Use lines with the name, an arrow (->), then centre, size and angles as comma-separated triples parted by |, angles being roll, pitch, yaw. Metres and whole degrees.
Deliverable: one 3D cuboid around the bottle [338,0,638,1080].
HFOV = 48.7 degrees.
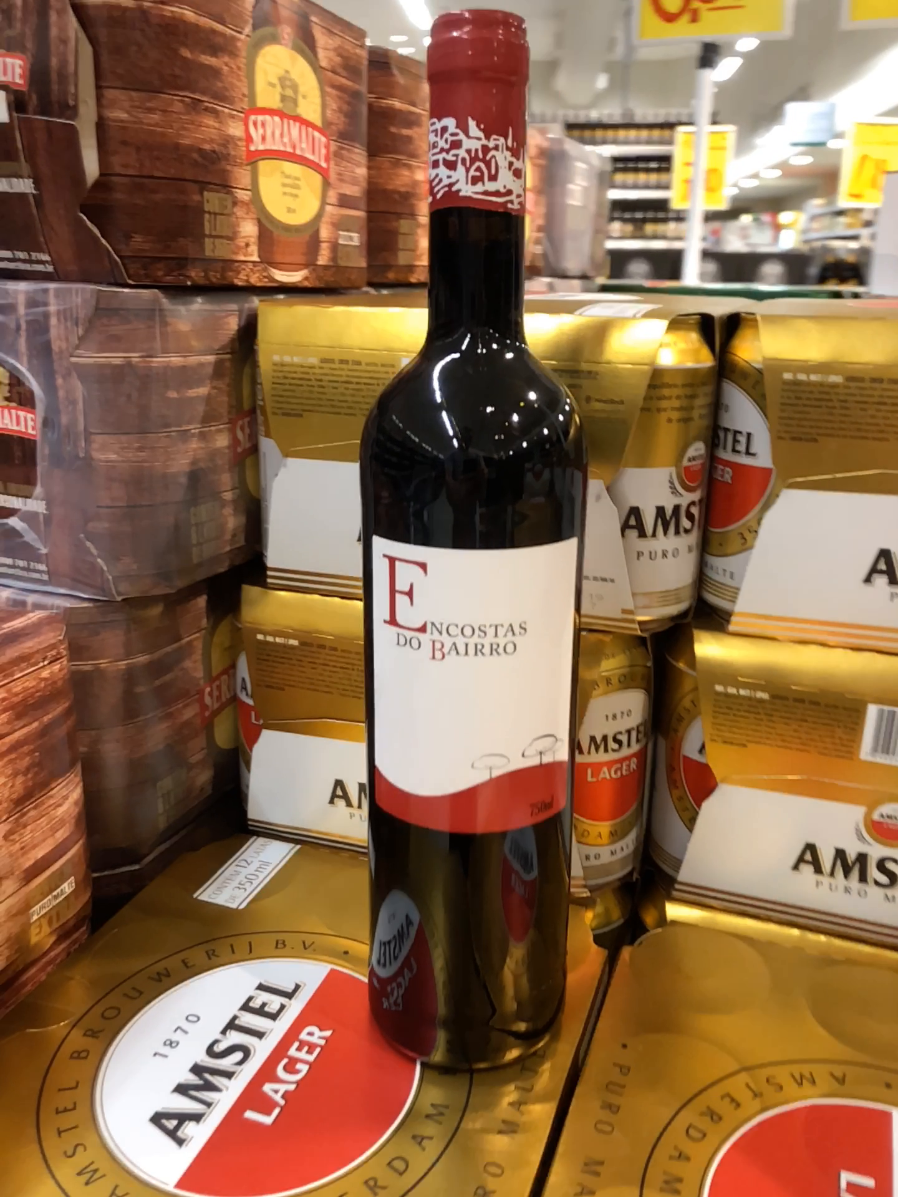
bottle -> 0.008, -0.008, 0.311 | 0.070, 0.318, 0.070 | 1, 17, 0
